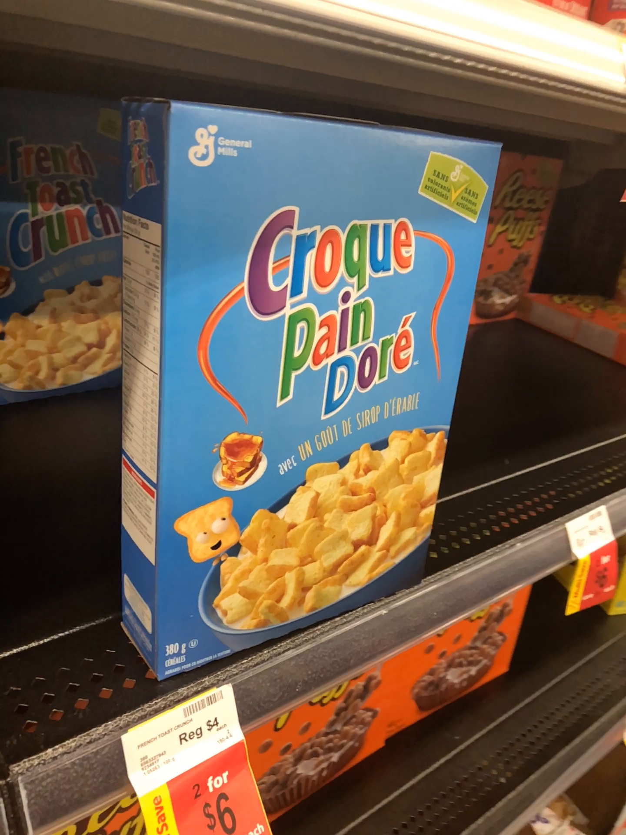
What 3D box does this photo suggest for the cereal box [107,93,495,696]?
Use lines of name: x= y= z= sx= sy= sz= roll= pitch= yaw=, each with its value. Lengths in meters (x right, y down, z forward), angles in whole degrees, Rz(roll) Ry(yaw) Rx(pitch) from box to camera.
cereal box: x=-0.010 y=-0.012 z=0.403 sx=0.200 sy=0.298 sz=0.060 roll=-9 pitch=24 yaw=-34
